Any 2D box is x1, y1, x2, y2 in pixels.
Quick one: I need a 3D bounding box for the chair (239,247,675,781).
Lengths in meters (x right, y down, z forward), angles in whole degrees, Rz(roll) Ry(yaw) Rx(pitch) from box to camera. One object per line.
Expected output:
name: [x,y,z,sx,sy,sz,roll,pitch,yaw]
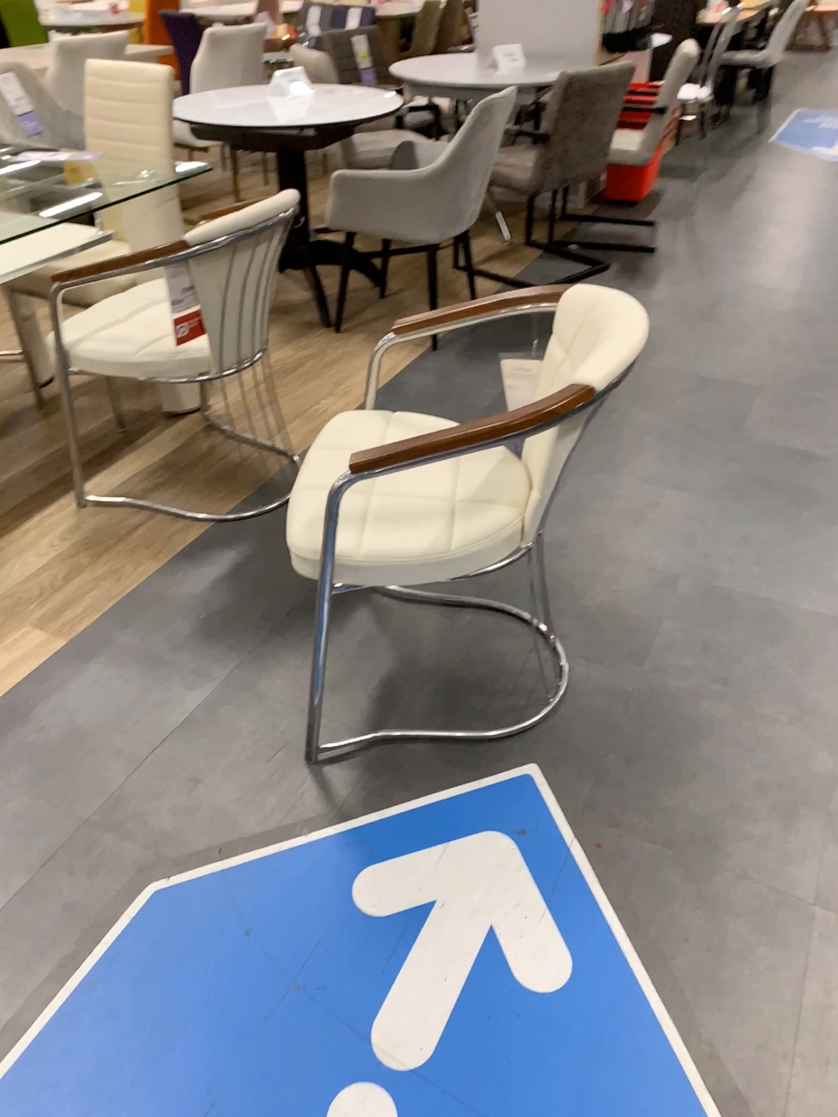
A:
chair: [0.071,-0.093,1.661,0.600,0.815,0.604,2,36,3]
